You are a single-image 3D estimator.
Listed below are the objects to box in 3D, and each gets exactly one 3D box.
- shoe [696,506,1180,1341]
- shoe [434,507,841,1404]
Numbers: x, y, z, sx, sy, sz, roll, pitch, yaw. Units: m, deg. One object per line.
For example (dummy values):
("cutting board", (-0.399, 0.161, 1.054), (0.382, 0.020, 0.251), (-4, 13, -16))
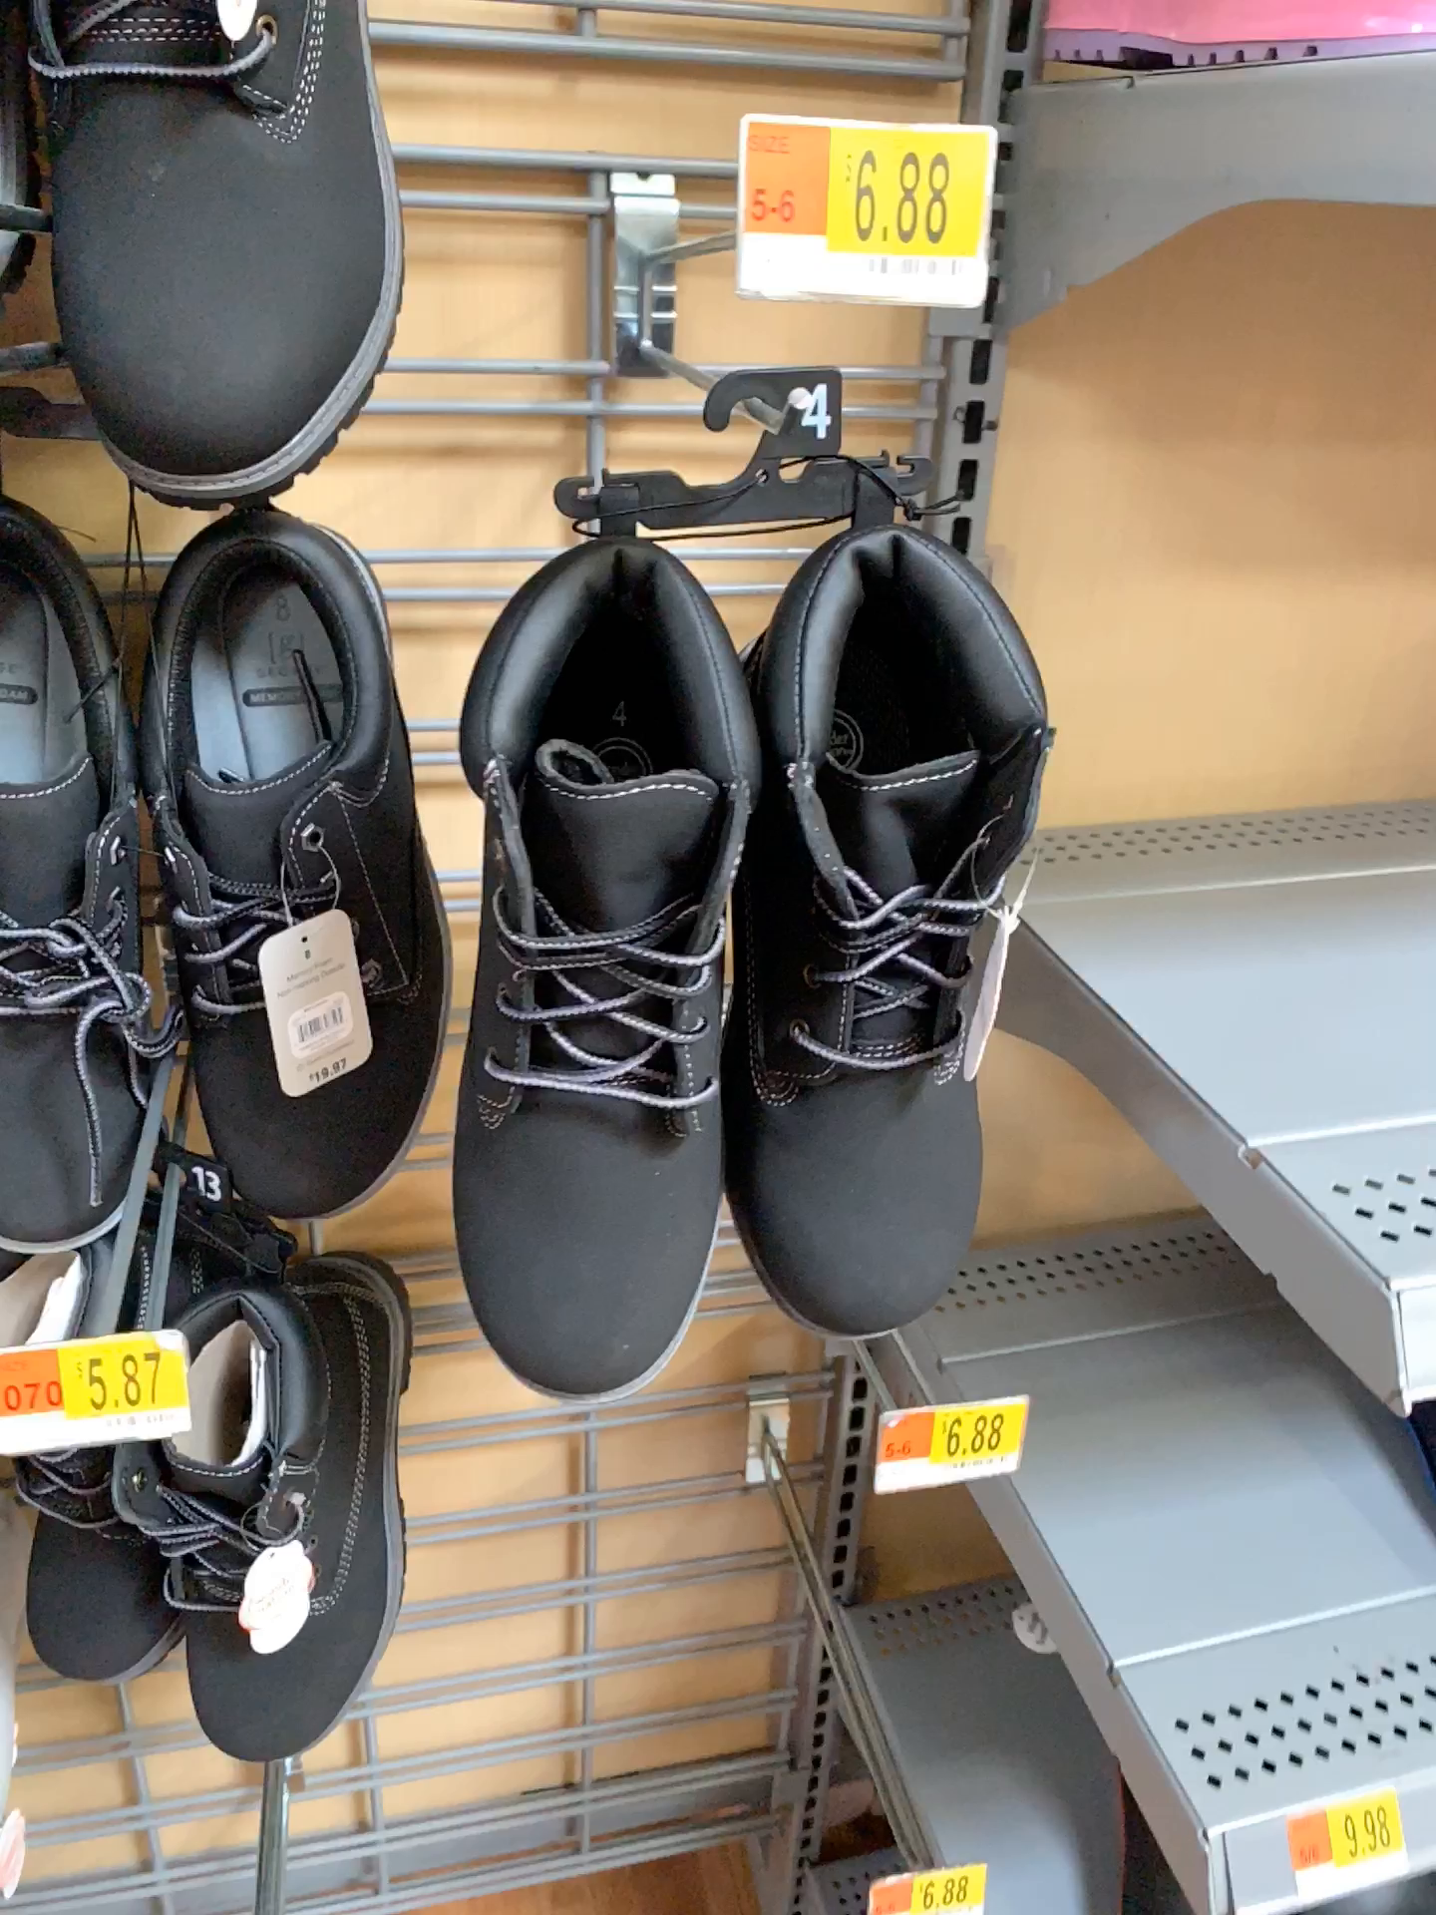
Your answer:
("shoe", (0.055, -0.016, 0.428), (0.100, 0.206, 0.120), (-3, 9, -10))
("shoe", (-0.030, -0.005, 0.435), (0.100, 0.229, 0.110), (-1, 9, -11))
